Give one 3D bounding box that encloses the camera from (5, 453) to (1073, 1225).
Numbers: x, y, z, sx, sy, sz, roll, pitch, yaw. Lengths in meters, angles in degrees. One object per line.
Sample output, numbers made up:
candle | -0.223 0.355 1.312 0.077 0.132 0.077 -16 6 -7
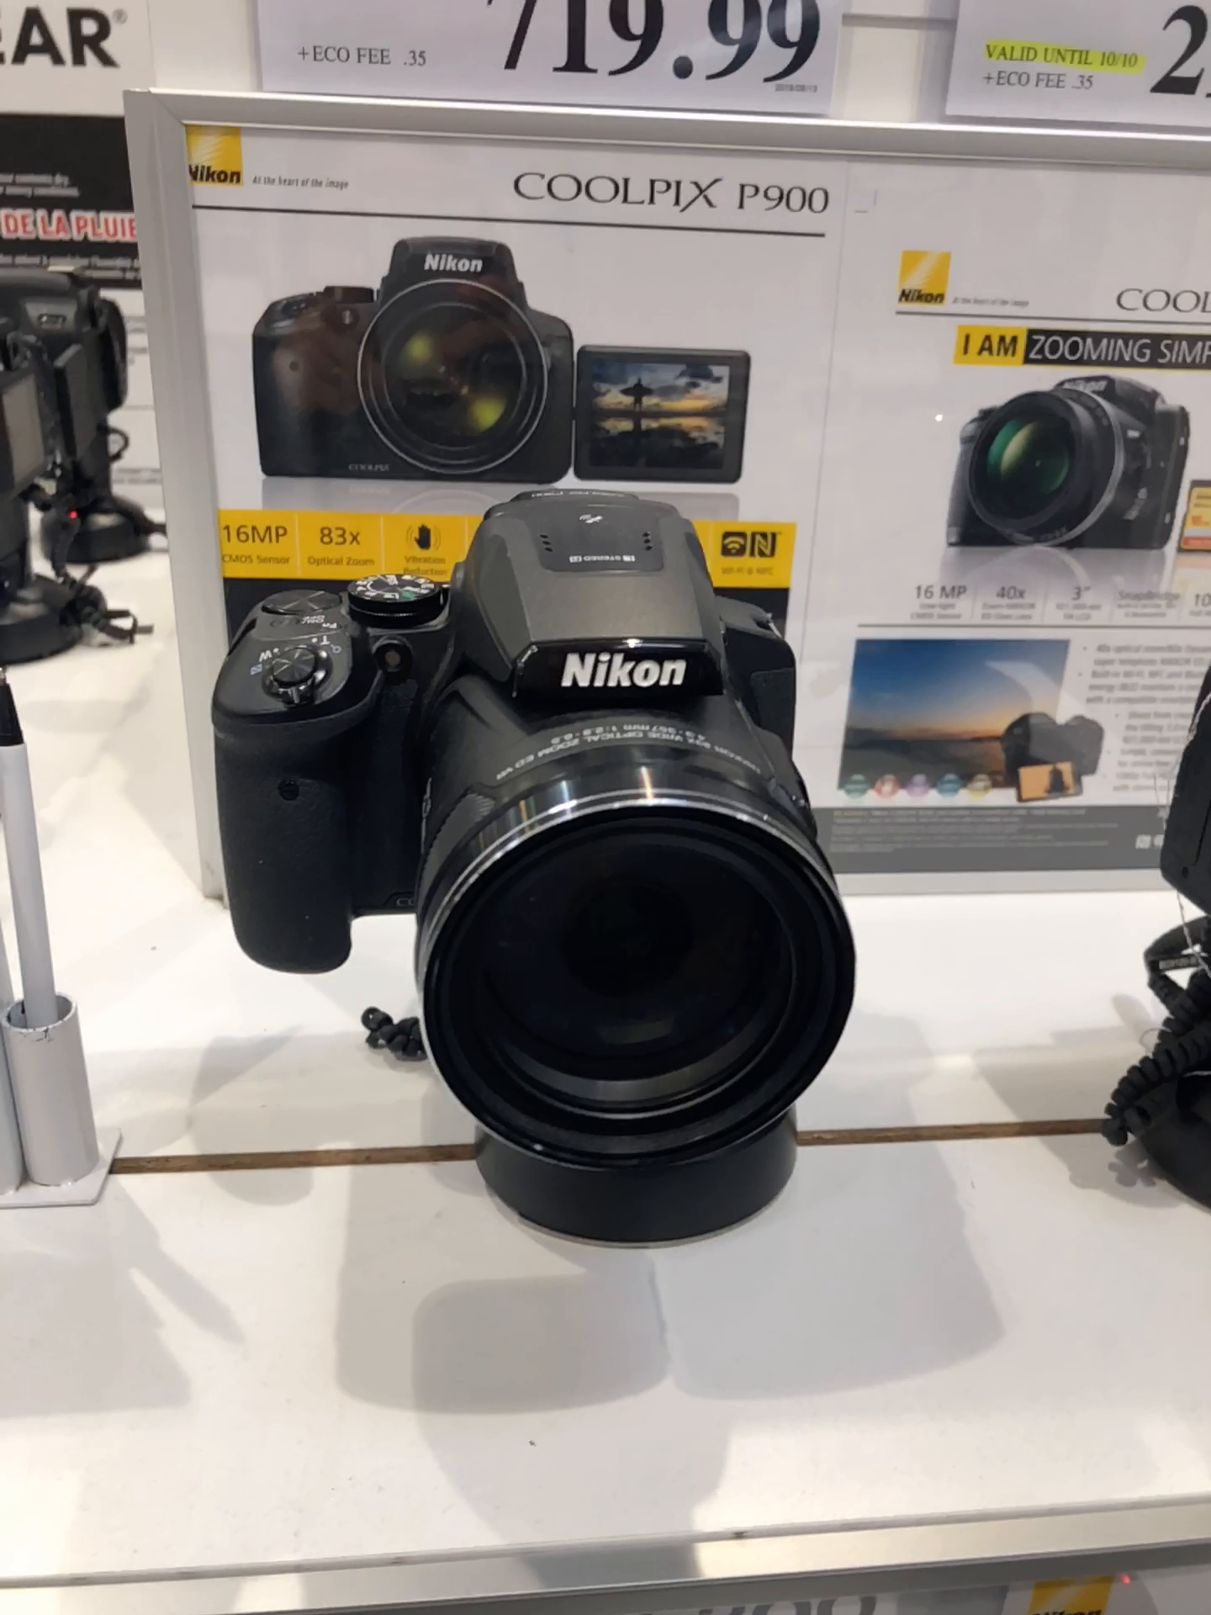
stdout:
camera | -0.015 -0.007 0.272 0.150 0.099 0.141 -1 25 -5
